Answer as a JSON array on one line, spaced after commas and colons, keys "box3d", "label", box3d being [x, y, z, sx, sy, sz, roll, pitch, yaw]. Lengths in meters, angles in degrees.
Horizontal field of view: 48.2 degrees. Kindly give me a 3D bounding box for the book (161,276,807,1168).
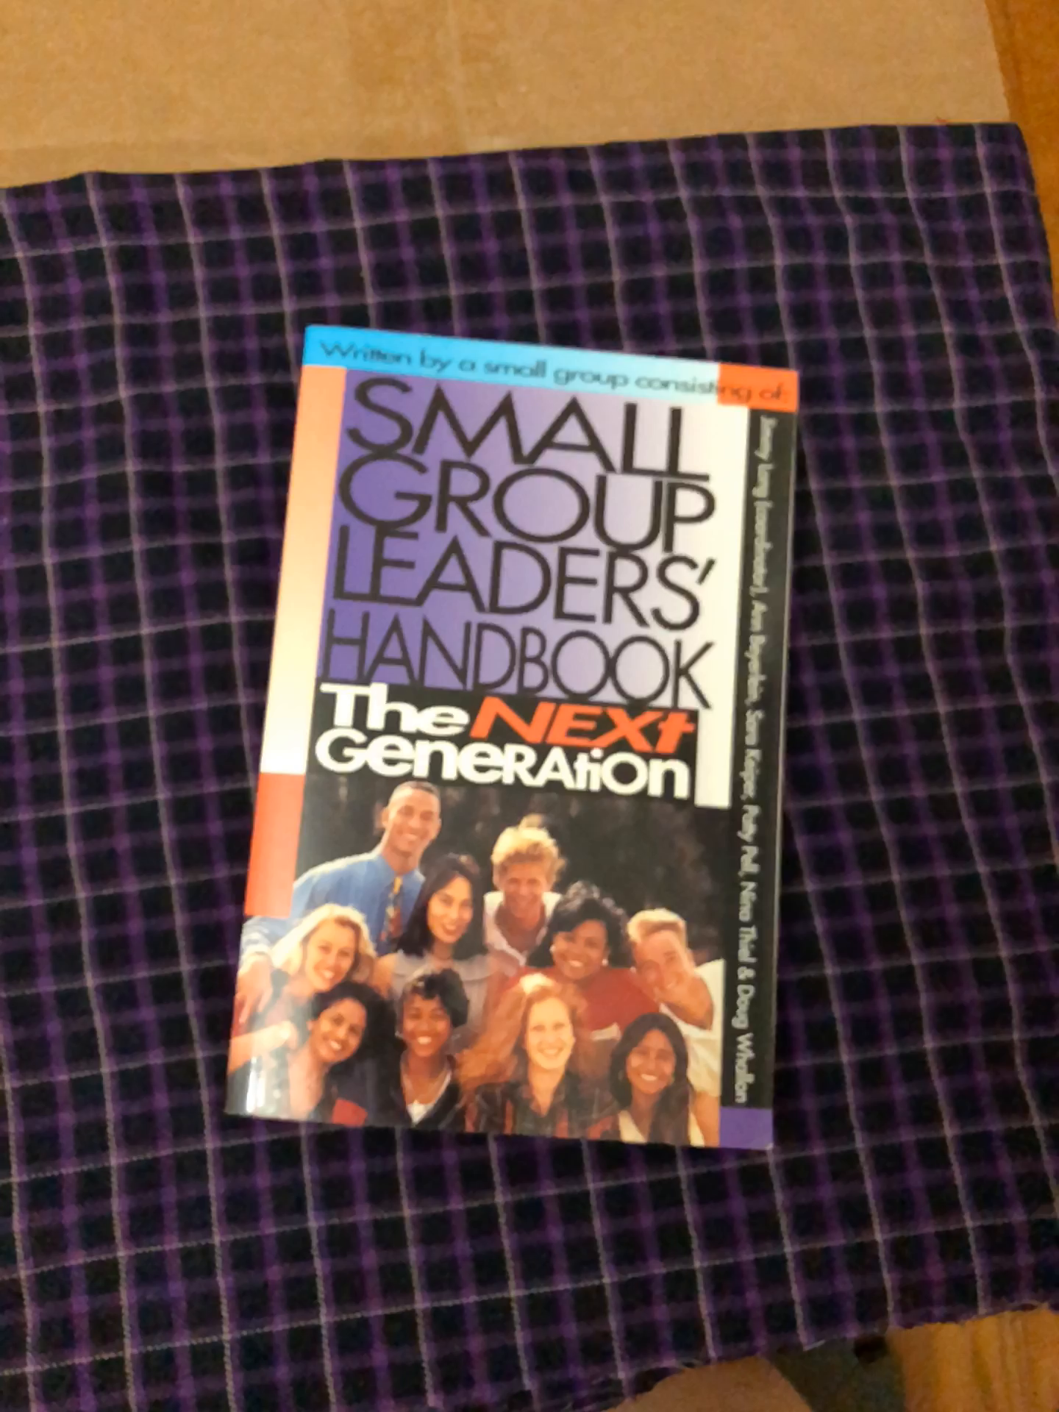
[{"box3d": [-0.008, 0.001, 0.309, 0.150, 0.030, 0.220, 2, 80, -4], "label": "book"}]
